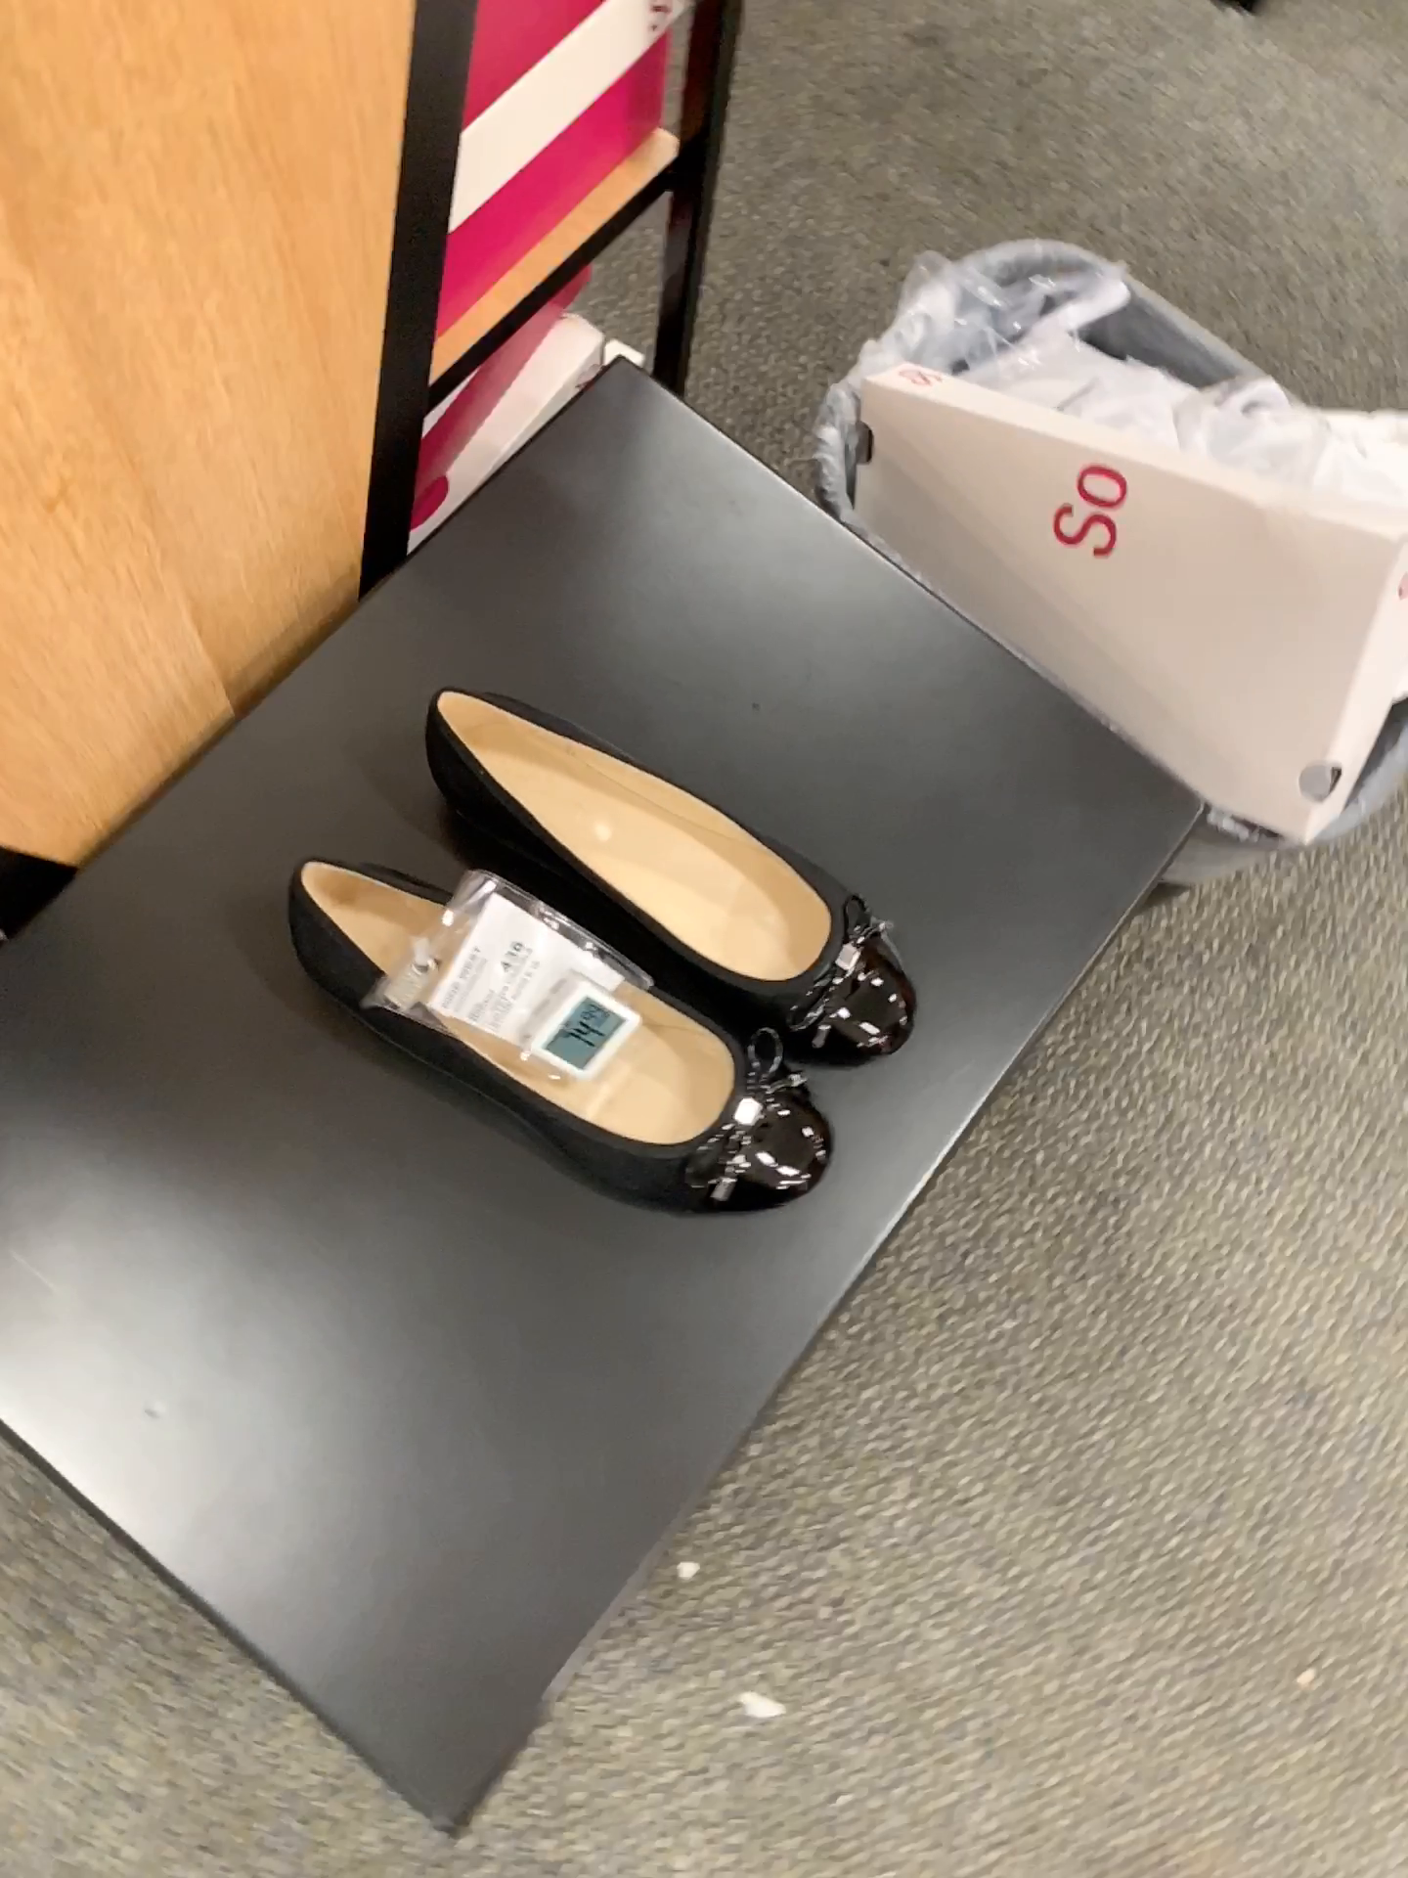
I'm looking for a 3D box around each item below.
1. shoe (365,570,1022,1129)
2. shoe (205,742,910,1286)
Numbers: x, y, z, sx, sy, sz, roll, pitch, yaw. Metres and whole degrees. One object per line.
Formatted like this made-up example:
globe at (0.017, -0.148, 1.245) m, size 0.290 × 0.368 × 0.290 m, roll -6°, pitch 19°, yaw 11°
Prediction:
shoe at (-0.009, -0.033, 0.614) m, size 0.250 × 0.100 × 0.090 m, roll 33°, pitch 72°, yaw 3°
shoe at (-0.058, 0.036, 0.585) m, size 0.250 × 0.100 × 0.090 m, roll 29°, pitch 72°, yaw 2°
